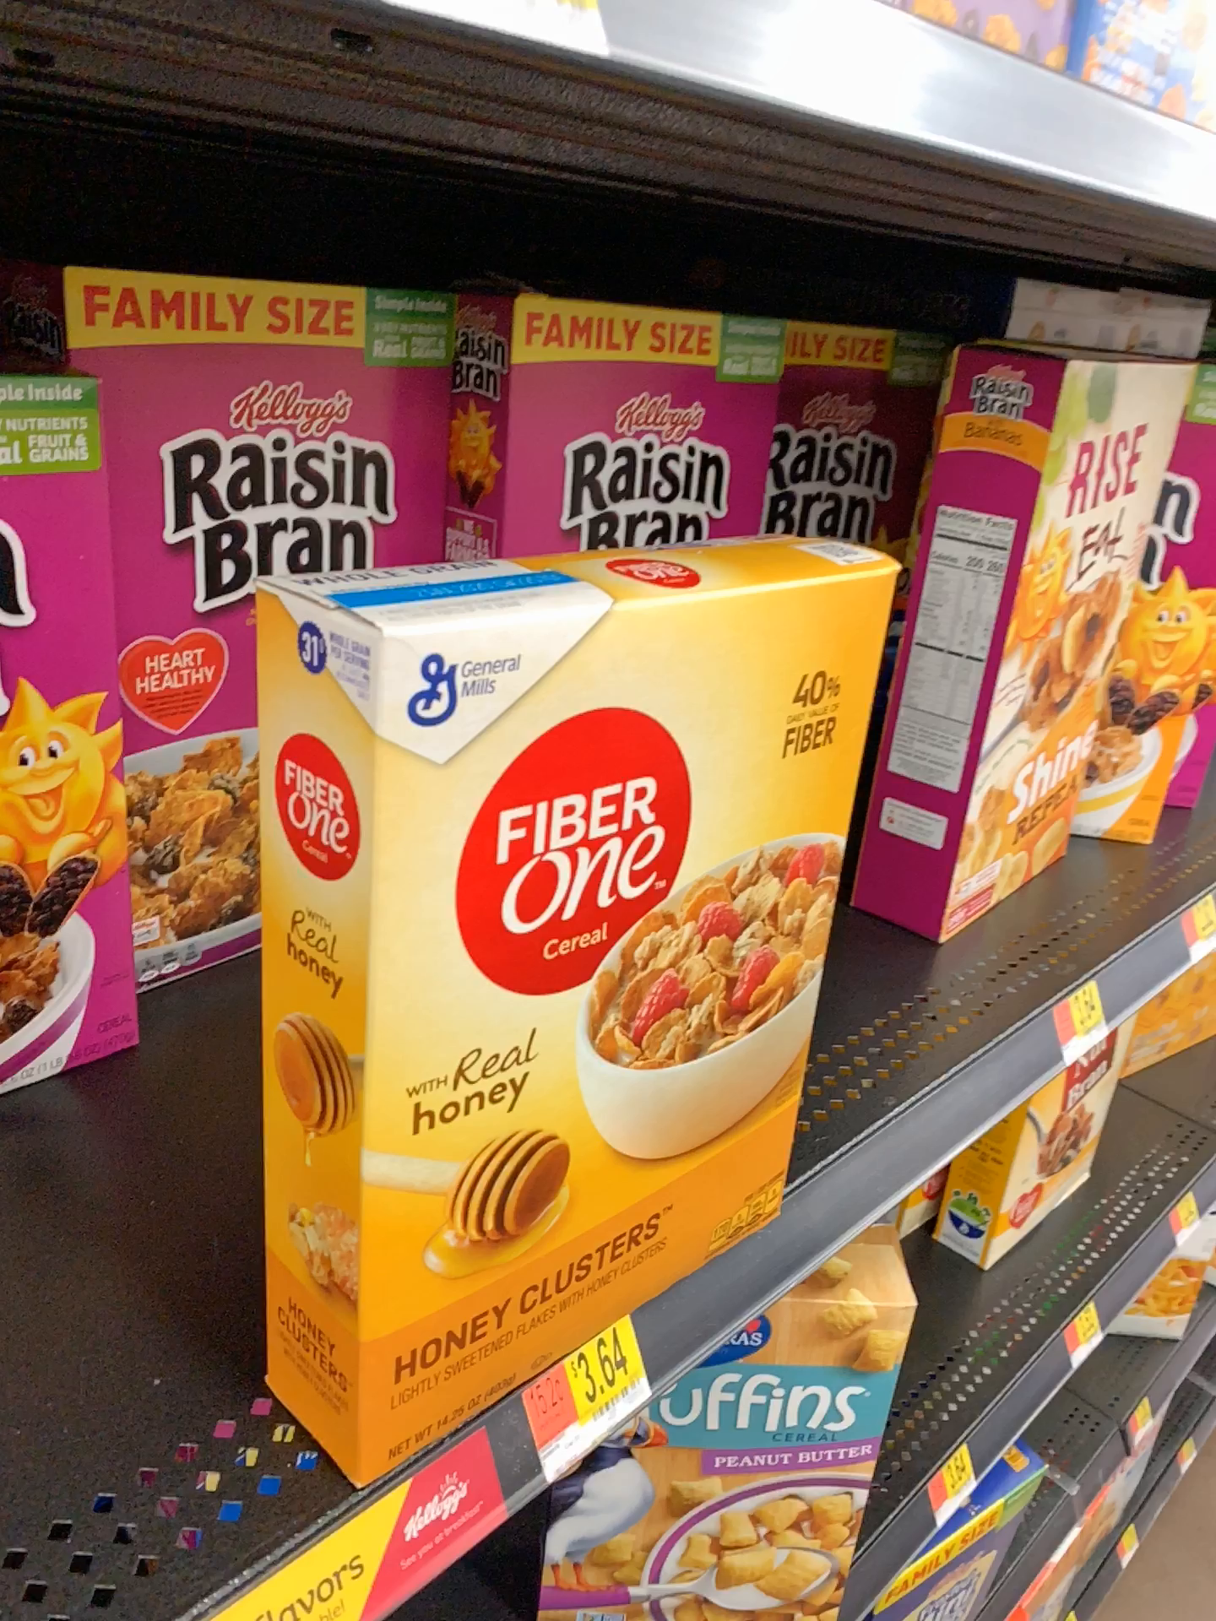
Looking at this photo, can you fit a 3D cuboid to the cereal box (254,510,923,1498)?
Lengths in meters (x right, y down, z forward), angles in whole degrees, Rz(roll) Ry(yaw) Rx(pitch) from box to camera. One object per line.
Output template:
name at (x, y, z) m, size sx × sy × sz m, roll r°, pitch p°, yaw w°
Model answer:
cereal box at (-0.004, 0.048, 0.389) m, size 0.200 × 0.259 × 0.050 m, roll -16°, pitch 31°, yaw -41°
